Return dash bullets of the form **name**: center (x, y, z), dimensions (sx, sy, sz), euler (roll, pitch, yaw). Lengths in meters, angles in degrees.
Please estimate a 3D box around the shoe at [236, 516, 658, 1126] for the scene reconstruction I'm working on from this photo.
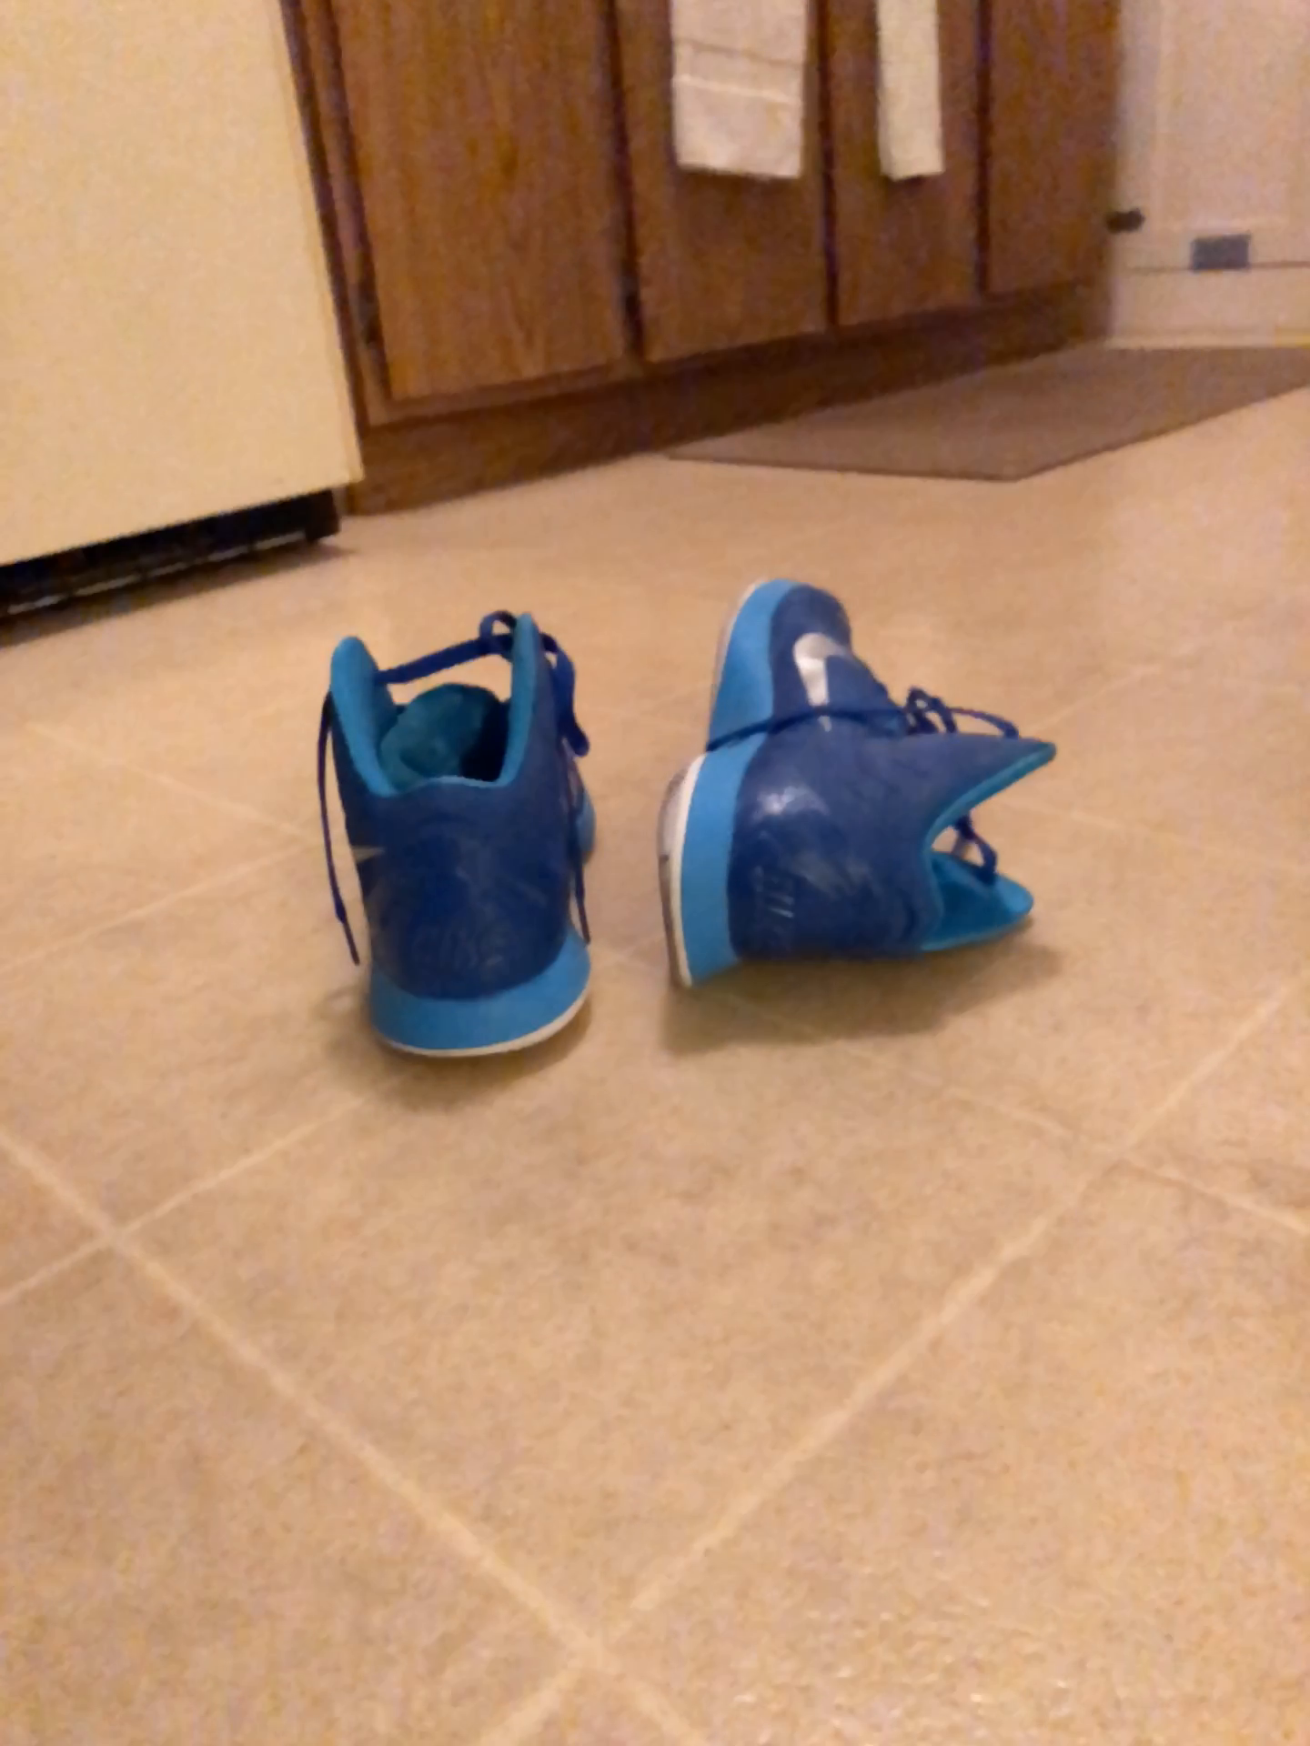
- **shoe**: center (-0.079, -0.047, 0.631), dimensions (0.120, 0.144, 0.312), euler (-7, 24, -2)

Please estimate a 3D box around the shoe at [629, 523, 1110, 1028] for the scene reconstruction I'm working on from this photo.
- **shoe**: center (0.089, -0.062, 0.638), dimensions (0.159, 0.119, 0.283), euler (3, 25, 7)
